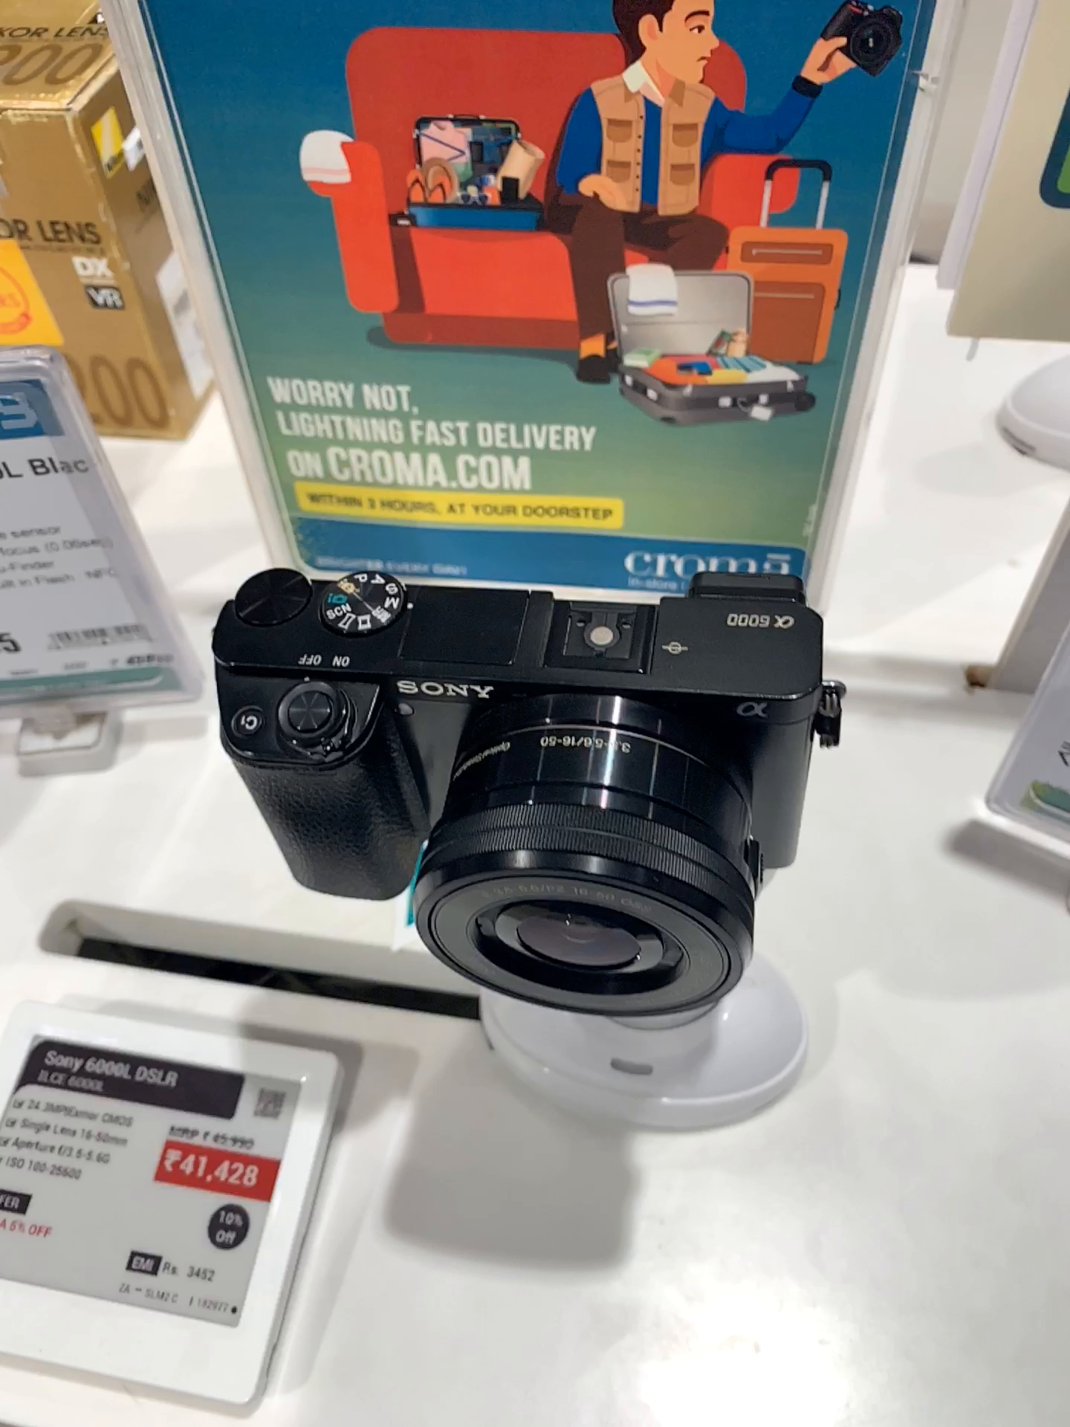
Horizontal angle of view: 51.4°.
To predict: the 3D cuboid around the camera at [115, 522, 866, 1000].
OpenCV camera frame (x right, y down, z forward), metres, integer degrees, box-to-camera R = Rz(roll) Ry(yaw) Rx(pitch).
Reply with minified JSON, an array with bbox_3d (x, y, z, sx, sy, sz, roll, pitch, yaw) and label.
[{"bbox_3d":[-0.005,0.011,0.219,0.118,0.073,0.056,3,51,5],"label":"camera"}]
